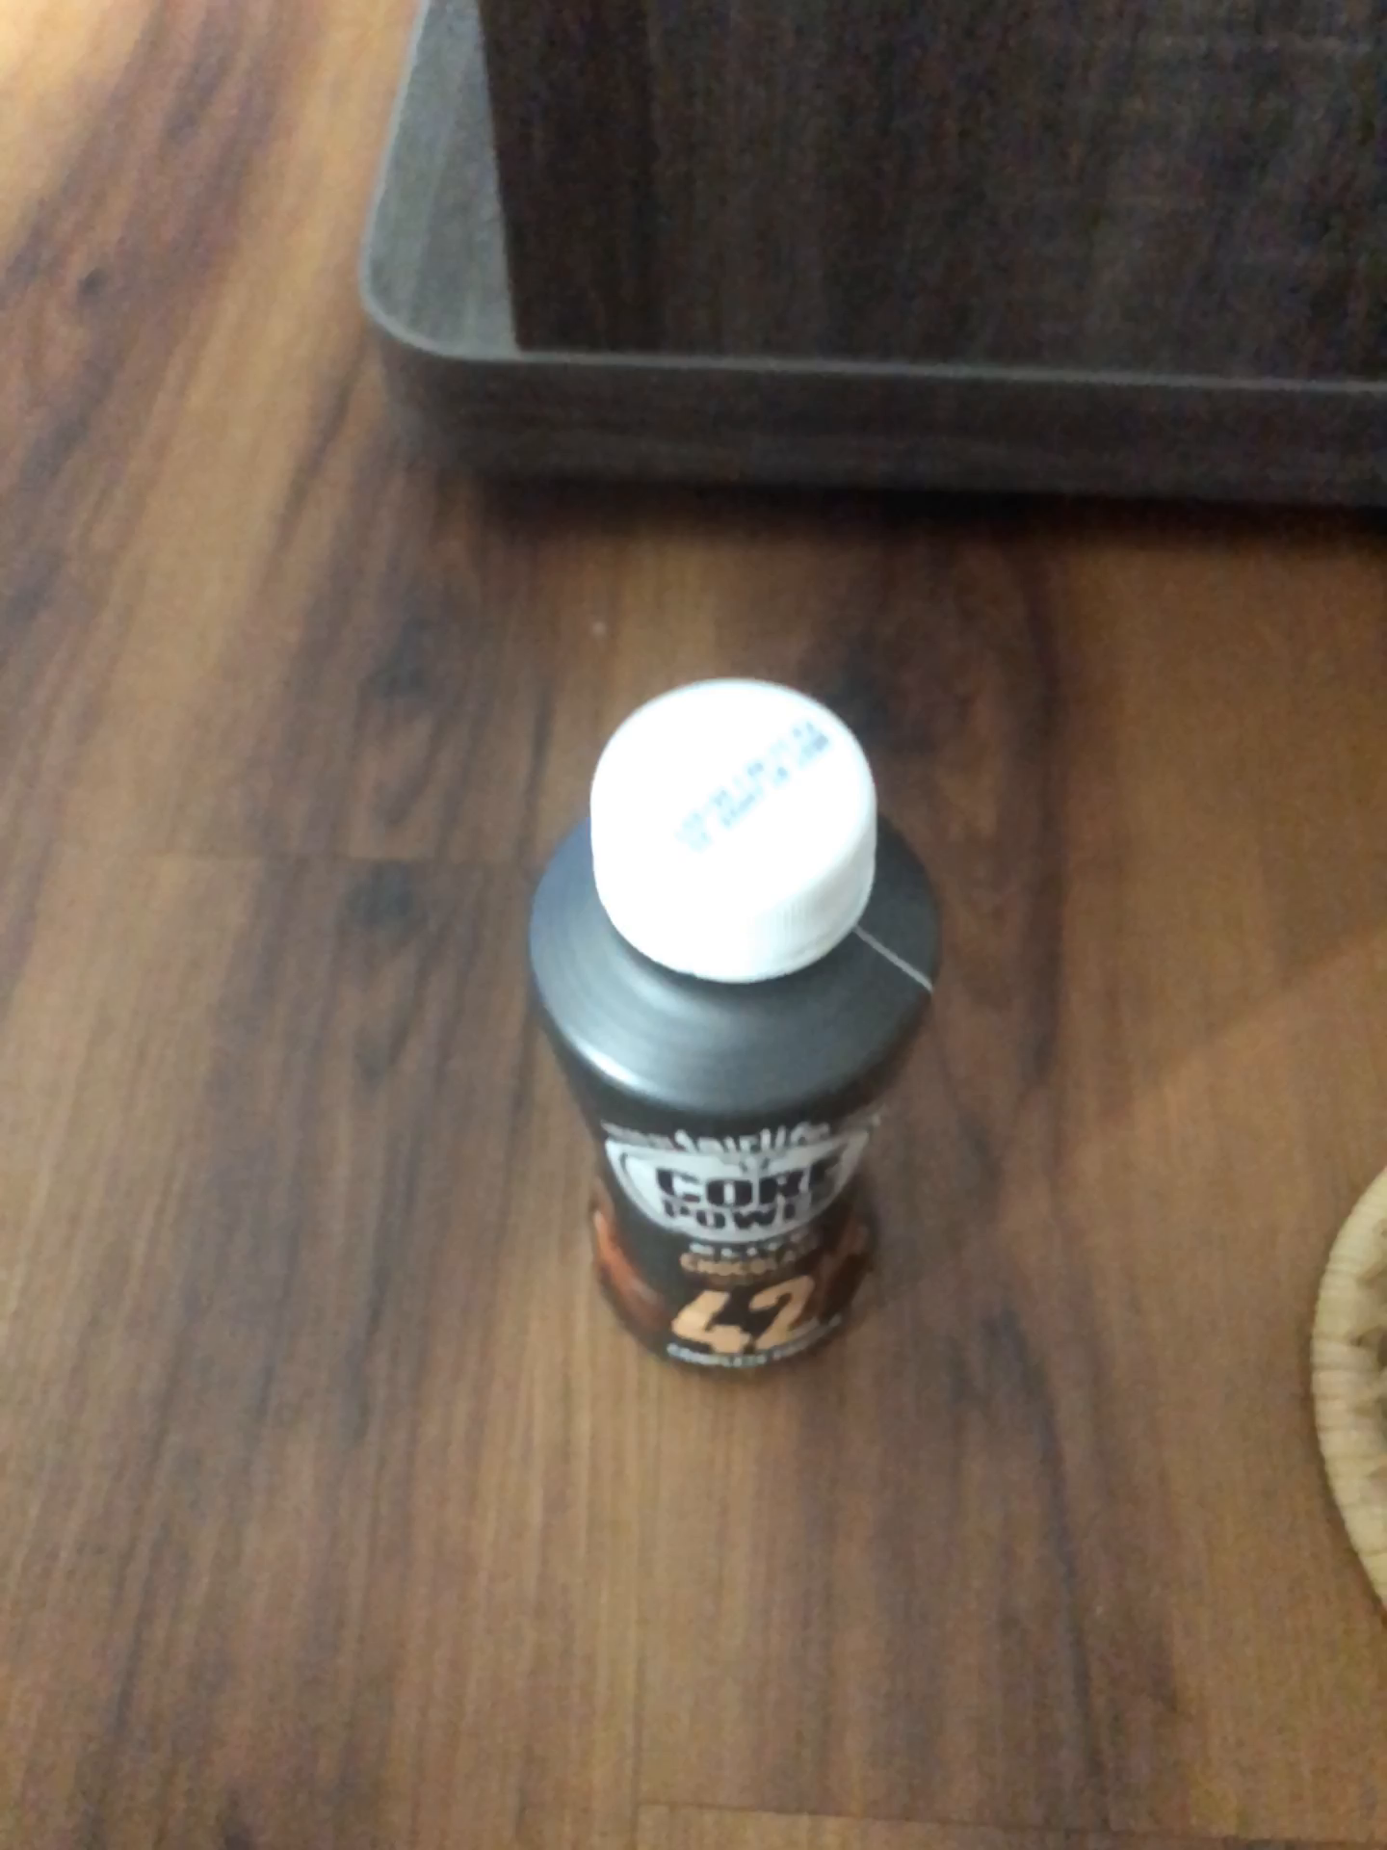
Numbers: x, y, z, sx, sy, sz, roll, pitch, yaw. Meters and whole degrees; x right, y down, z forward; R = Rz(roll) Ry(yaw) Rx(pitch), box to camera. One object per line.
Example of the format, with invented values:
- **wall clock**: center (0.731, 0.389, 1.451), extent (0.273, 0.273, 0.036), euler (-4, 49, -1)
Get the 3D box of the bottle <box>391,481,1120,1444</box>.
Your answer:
- **bottle**: center (0.011, 0.023, 0.289), extent (0.070, 0.184, 0.070), euler (-1, 58, 1)
